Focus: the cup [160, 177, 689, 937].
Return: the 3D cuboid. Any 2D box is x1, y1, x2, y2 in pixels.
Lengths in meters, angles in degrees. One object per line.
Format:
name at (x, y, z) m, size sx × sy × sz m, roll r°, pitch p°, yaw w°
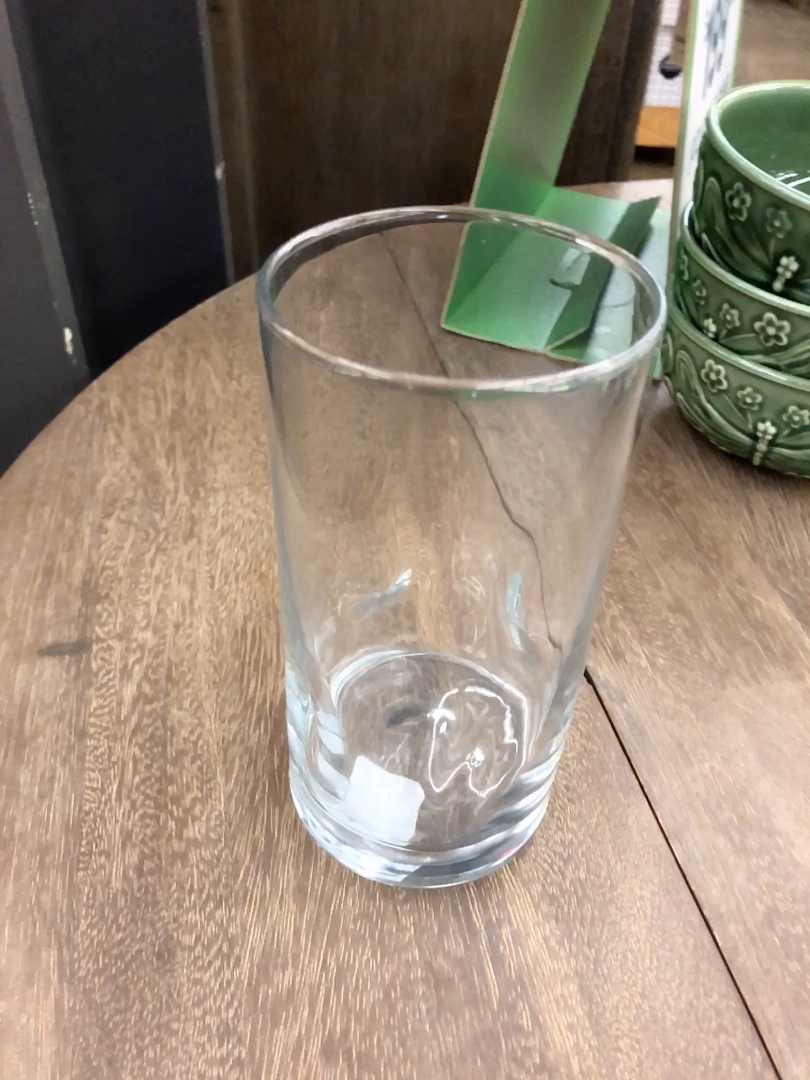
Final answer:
cup at (0.008, 0.008, 0.206) m, size 0.078 × 0.144 × 0.082 m, roll 1°, pitch 40°, yaw -1°
